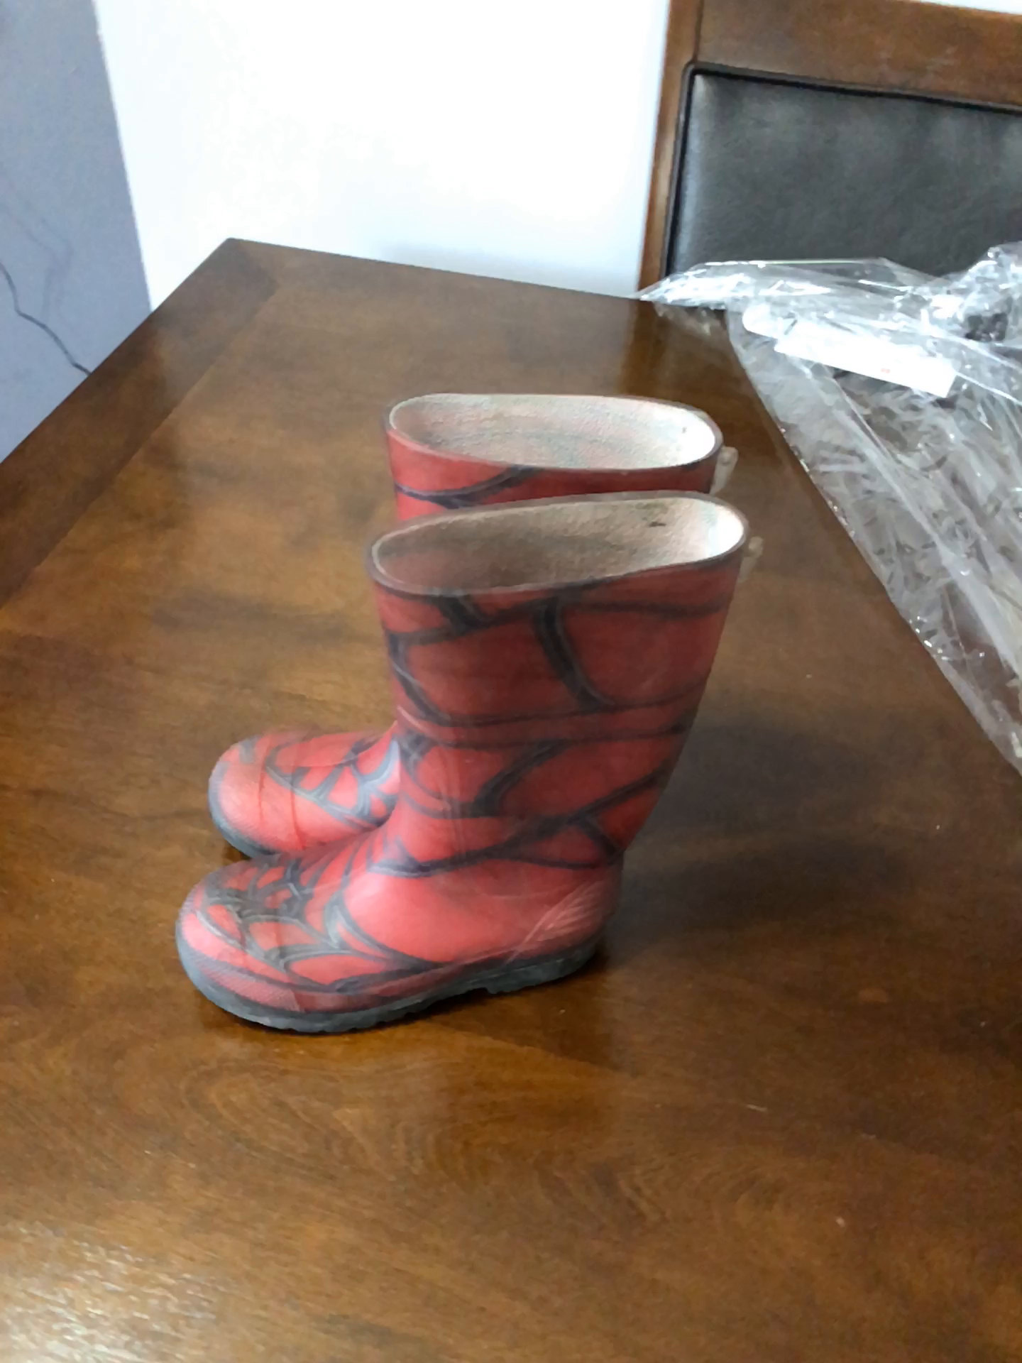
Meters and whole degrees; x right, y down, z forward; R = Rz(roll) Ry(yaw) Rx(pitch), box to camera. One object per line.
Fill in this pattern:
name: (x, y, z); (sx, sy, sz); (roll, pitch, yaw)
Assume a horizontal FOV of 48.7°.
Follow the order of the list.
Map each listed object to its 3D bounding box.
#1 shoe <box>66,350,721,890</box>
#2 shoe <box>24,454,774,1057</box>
shoe: (-0.045, -0.014, 0.494); (0.220, 0.239, 0.080); (0, 45, -4)
shoe: (-0.040, 0.040, 0.444); (0.220, 0.239, 0.080); (-4, 45, -8)
